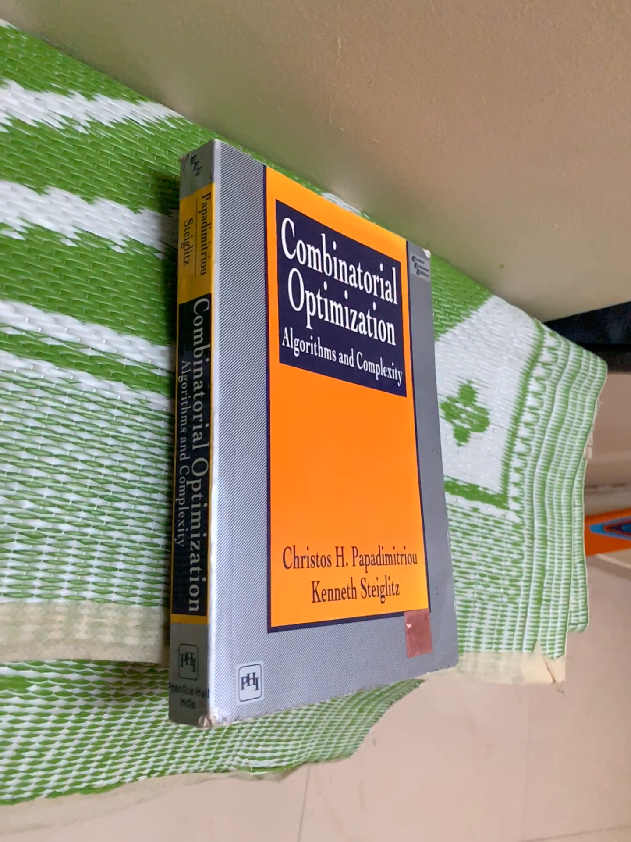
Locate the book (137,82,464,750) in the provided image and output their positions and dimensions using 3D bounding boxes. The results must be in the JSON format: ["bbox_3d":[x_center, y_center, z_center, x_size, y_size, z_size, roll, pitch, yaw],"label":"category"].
[{"bbox_3d":[-0.004,-0.003,0.329,0.171,0.040,0.270,12,68,-46],"label":"book"}]
